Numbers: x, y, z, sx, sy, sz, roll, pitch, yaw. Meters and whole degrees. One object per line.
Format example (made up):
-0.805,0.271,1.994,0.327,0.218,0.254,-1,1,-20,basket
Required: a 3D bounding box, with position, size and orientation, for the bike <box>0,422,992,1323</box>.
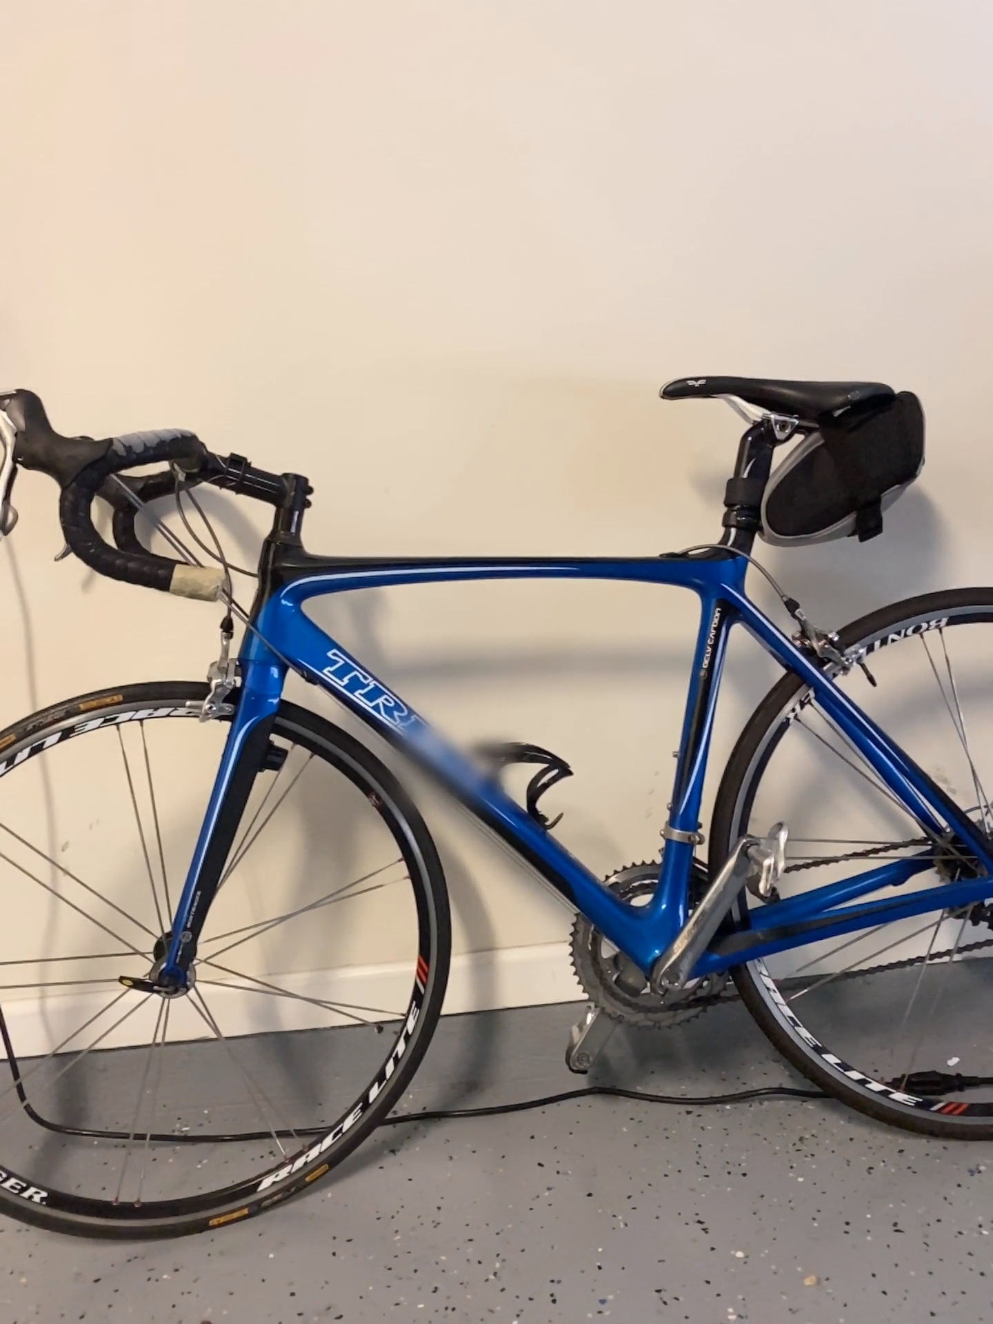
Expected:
0.179,0.218,1.126,1.638,0.884,0.401,-3,7,-12,bike
